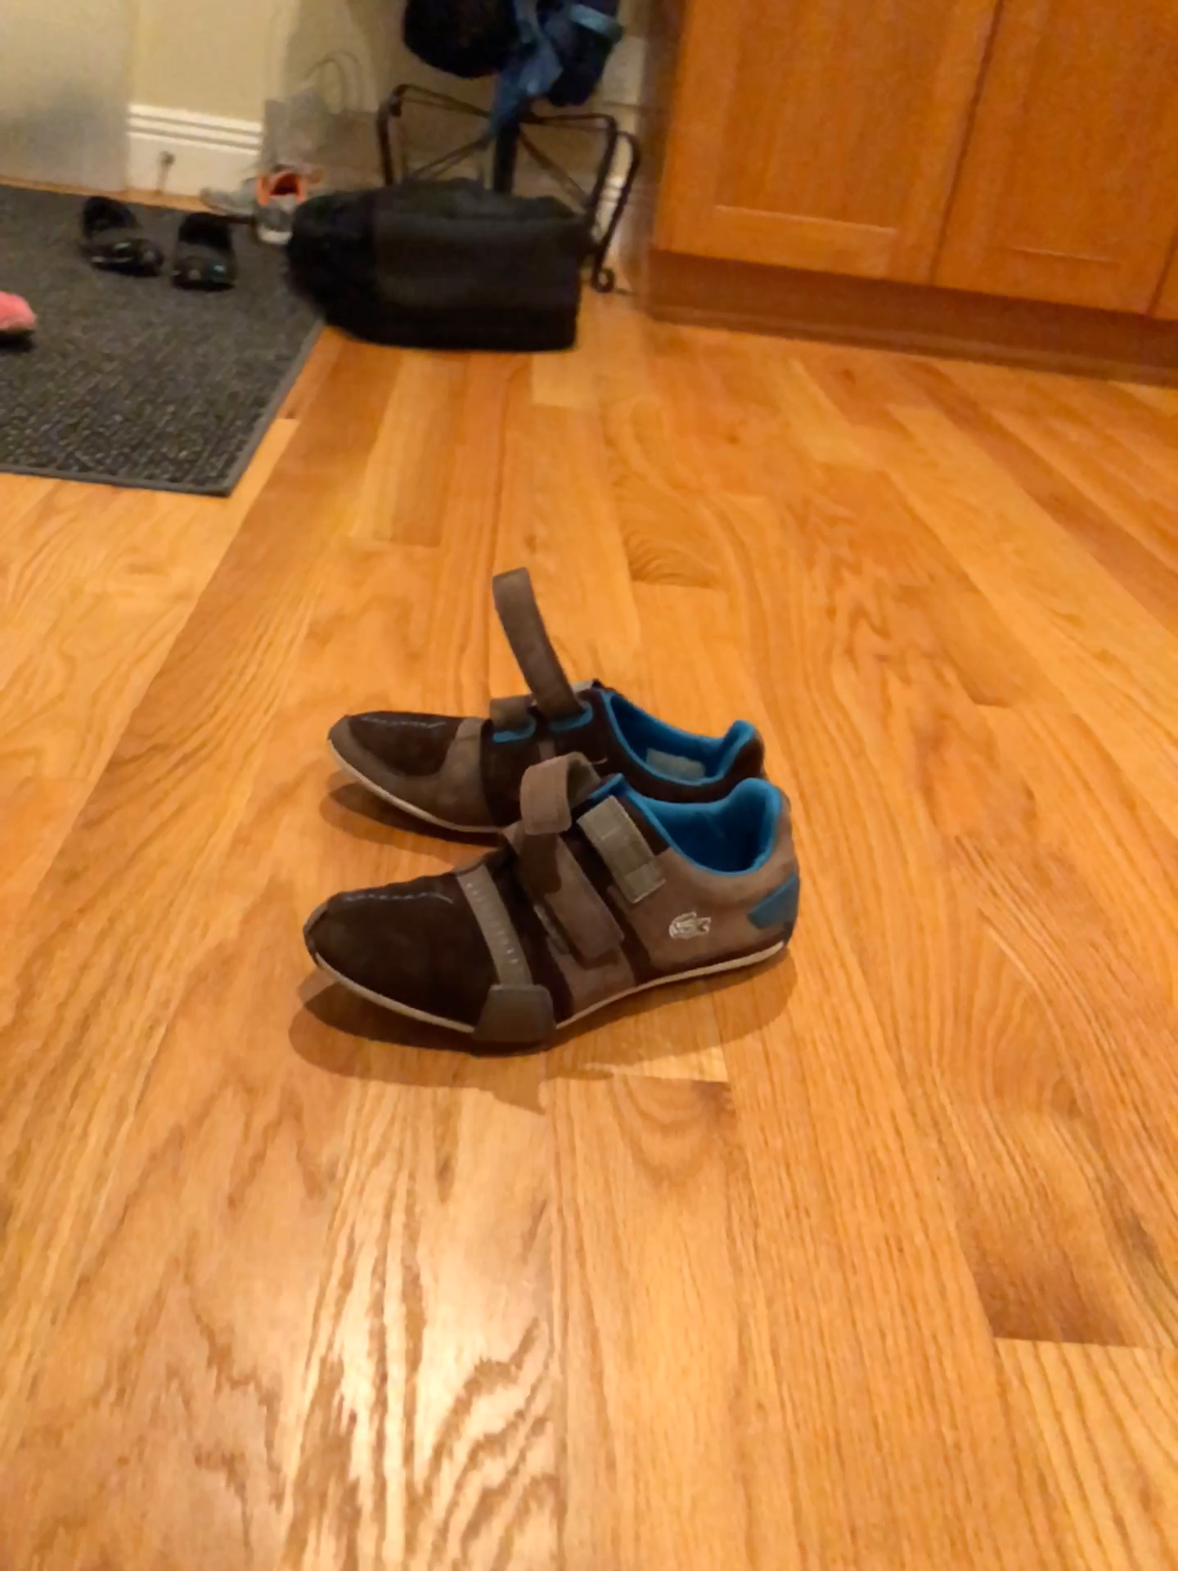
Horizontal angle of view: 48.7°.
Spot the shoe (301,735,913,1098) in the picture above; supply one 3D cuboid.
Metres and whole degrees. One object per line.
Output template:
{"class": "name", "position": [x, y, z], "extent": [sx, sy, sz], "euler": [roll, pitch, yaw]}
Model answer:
{"class": "shoe", "position": [0.006, 0.051, 0.605], "extent": [0.255, 0.091, 0.102], "euler": [-6, 33, -24]}

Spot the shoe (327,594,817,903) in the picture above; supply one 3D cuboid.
{"class": "shoe", "position": [-0.007, -0.025, 0.737], "extent": [0.255, 0.091, 0.103], "euler": [11, 30, 4]}
